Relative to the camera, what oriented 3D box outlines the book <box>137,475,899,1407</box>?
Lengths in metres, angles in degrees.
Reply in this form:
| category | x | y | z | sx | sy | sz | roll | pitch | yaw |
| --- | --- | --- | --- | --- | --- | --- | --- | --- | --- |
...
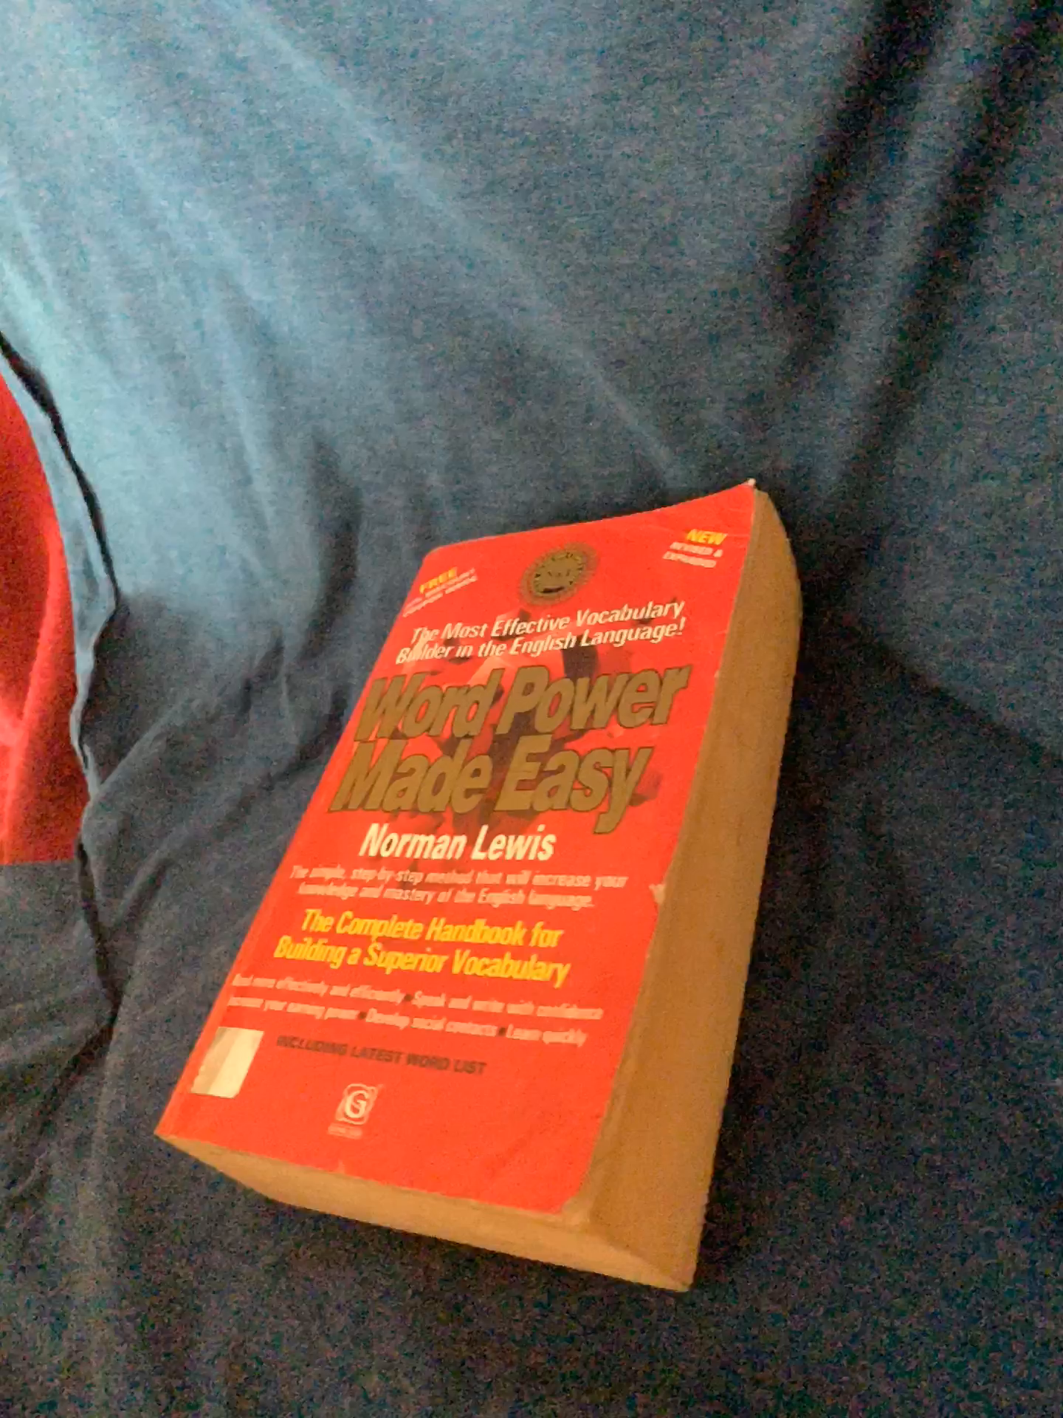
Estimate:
| category | x | y | z | sx | sy | sz | roll | pitch | yaw |
| --- | --- | --- | --- | --- | --- | --- | --- | --- | --- |
| book | 0.008 | 0.036 | 0.265 | 0.120 | 0.050 | 0.191 | 0 | 54 | 32 |
